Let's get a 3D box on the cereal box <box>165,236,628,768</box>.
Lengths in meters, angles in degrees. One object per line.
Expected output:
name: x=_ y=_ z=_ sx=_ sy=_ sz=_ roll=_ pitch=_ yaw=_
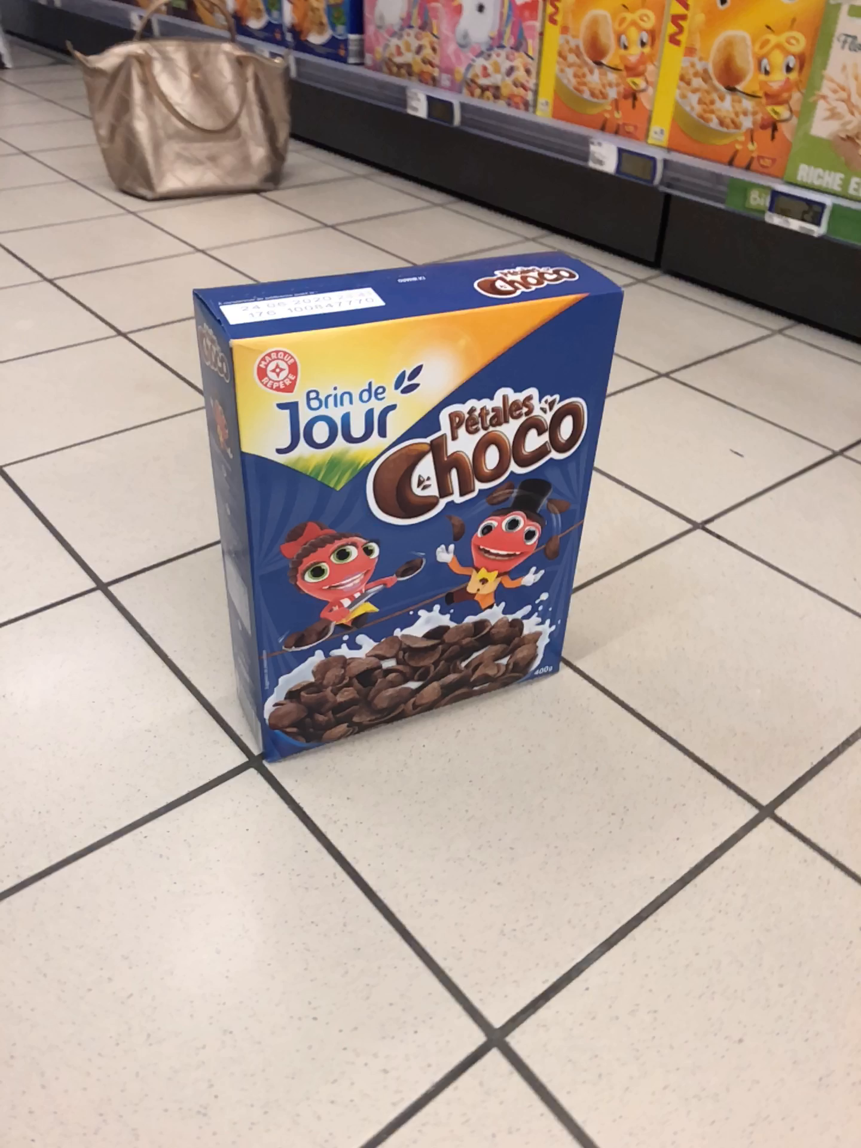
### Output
cereal box: x=-0.018 y=-0.036 z=0.506 sx=0.201 sy=0.248 sz=0.070 roll=-13 pitch=39 yaw=-21
